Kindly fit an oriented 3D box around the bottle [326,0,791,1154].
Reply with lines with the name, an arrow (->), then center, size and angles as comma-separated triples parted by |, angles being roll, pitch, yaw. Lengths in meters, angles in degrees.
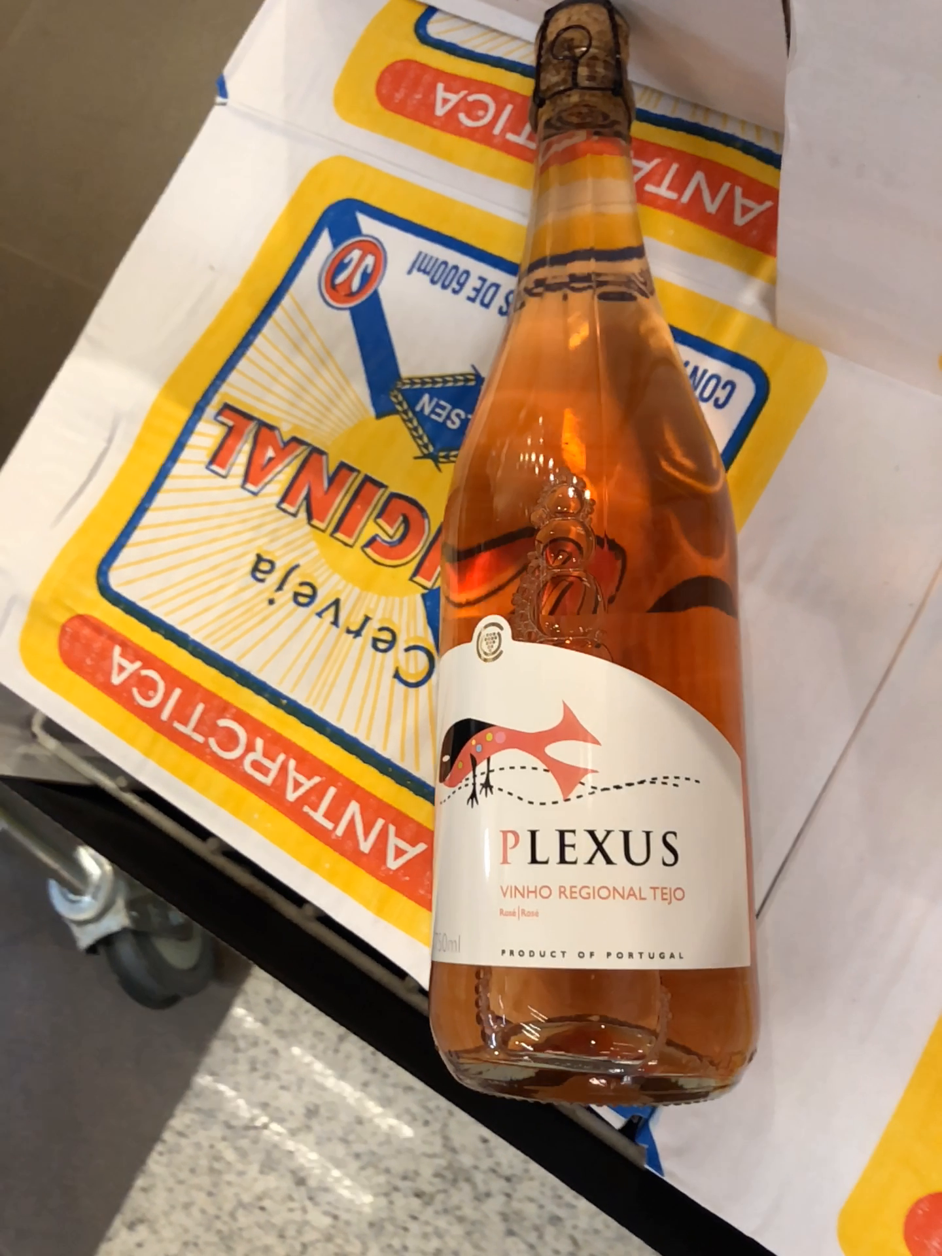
bottle -> 0.026, -0.036, 0.268 | 0.090, 0.070, 0.290 | -3, 75, 15
